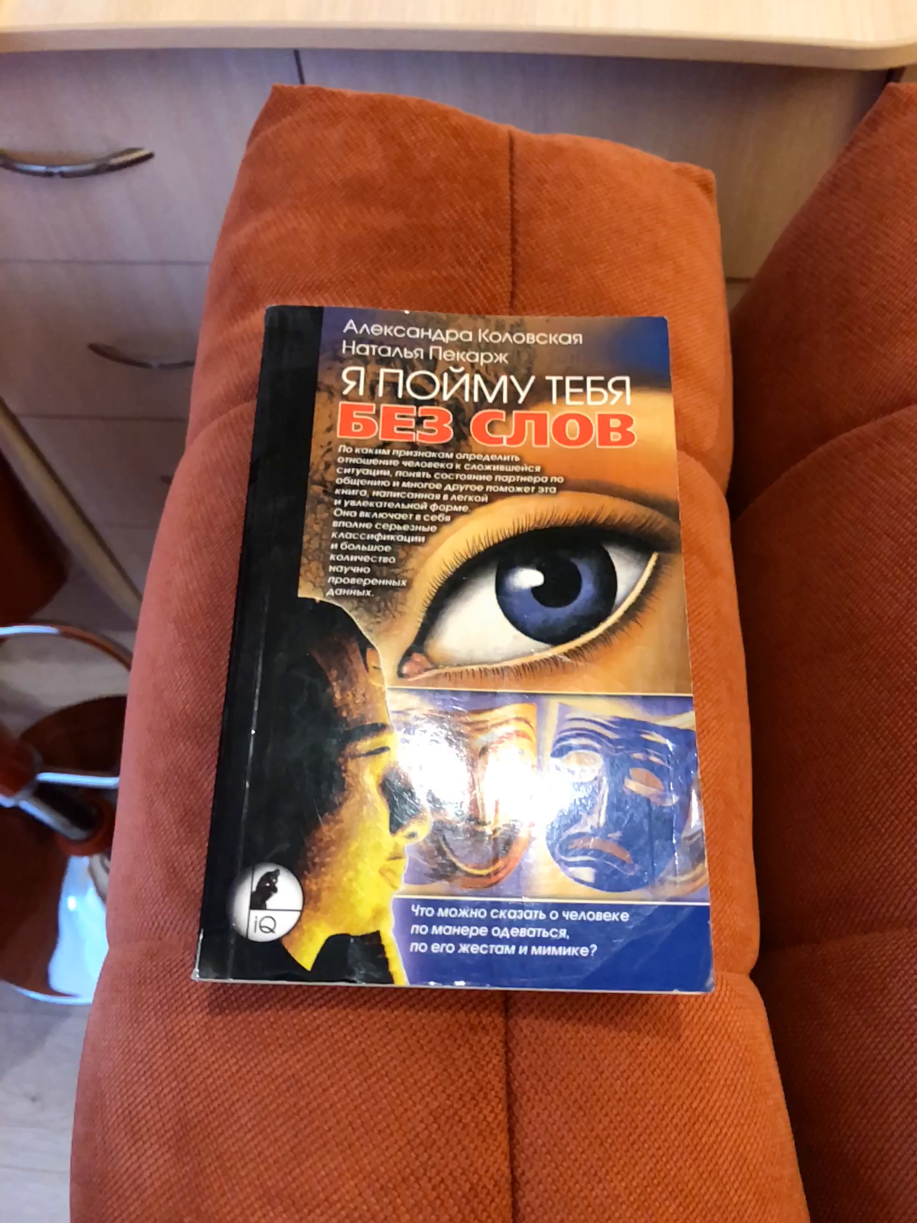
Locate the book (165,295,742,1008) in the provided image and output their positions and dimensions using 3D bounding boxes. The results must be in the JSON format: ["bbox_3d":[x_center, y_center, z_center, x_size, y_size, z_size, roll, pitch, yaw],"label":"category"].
[{"bbox_3d":[0.001,0.003,0.275,0.128,0.030,0.191,1,68,0],"label":"book"}]
